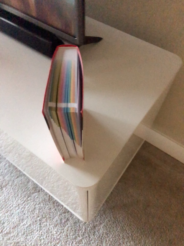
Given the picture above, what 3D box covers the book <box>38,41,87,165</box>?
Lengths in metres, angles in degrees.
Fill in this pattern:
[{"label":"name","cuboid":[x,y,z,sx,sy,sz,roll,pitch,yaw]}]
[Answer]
[{"label":"book","cuboid":[-0.043,-0.028,0.384,0.060,0.179,0.150,1,56,-1]}]
